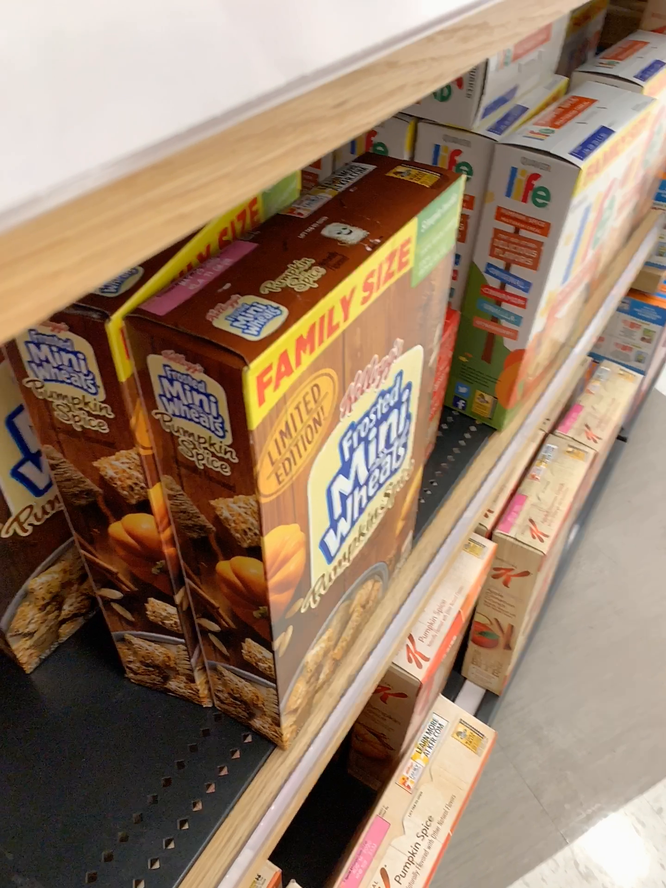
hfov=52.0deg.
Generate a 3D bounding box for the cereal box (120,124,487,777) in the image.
[{"bbox_3d":[0.004,0.019,0.378,0.050,0.309,0.201,21,47,21],"label":"cereal box"}]
